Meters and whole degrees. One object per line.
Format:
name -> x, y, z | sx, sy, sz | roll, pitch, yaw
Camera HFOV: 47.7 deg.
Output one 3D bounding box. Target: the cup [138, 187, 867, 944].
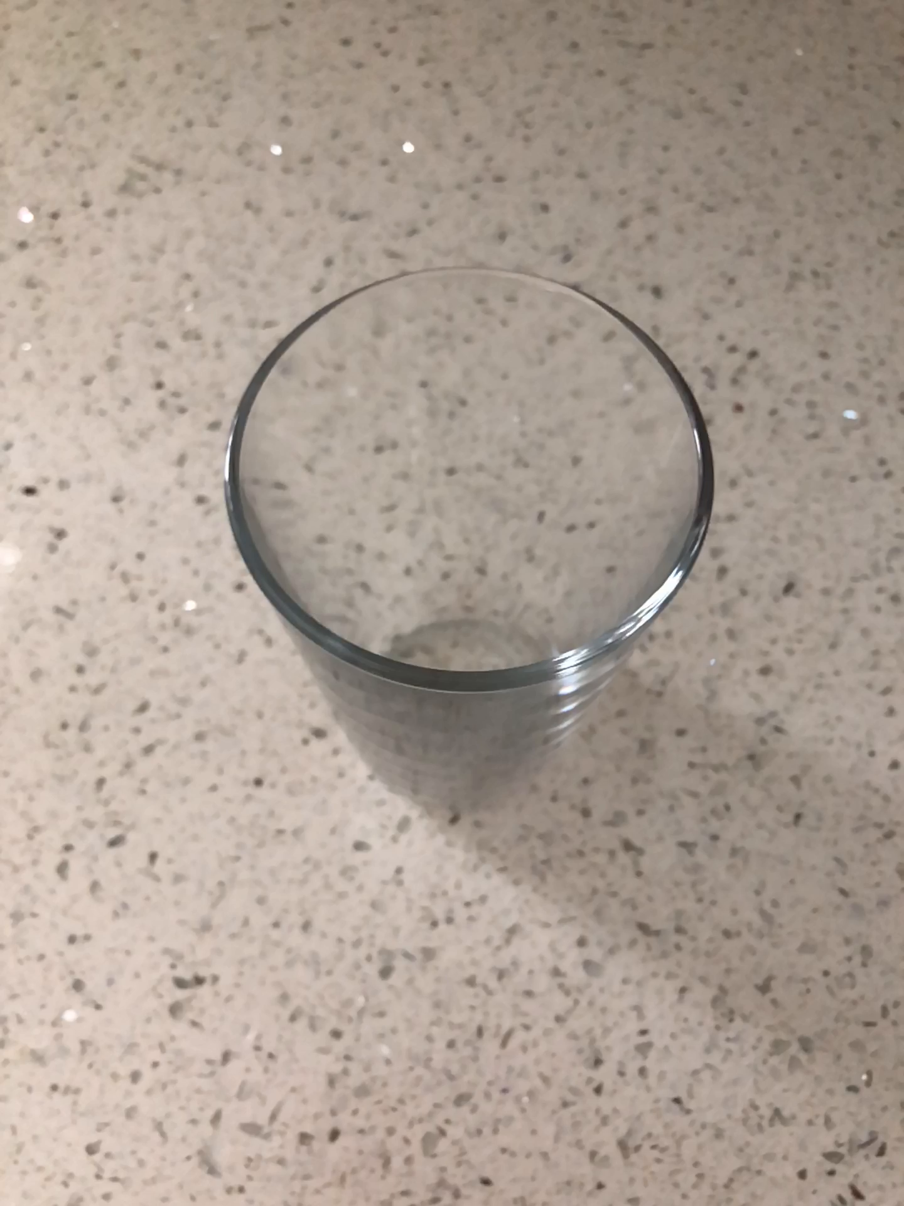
cup -> 0.004, 0.004, 0.197 | 0.074, 0.114, 0.080 | 0, 65, 0
